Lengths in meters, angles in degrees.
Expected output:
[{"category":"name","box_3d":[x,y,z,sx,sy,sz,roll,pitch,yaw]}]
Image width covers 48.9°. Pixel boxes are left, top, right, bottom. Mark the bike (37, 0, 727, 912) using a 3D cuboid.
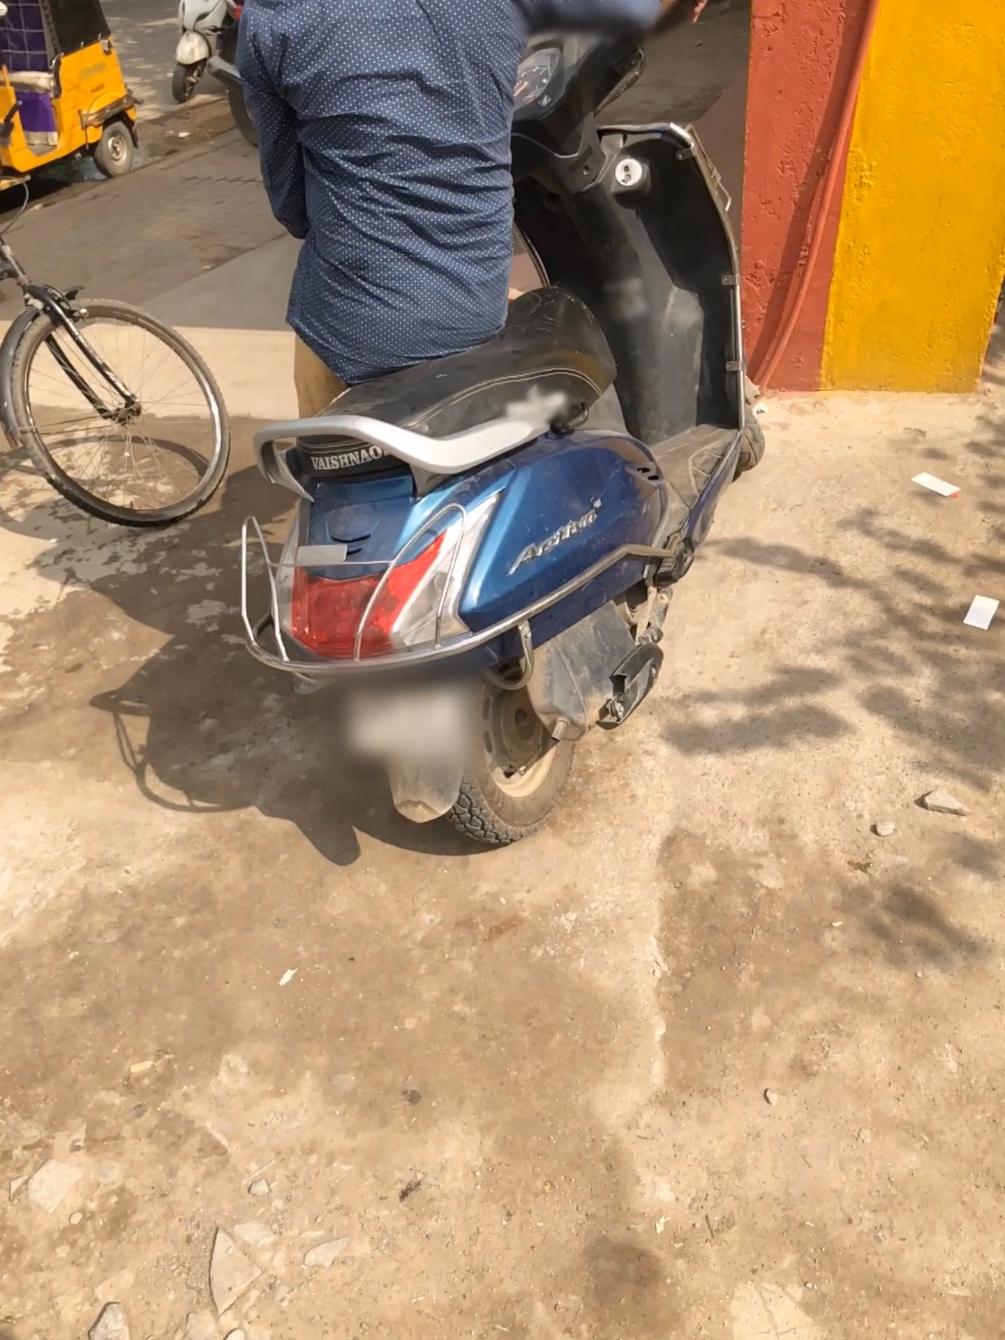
[{"category":"bike","box_3d":[-0.012,-0.605,2.230,0.624,1.187,1.644,9,40,15]}]
